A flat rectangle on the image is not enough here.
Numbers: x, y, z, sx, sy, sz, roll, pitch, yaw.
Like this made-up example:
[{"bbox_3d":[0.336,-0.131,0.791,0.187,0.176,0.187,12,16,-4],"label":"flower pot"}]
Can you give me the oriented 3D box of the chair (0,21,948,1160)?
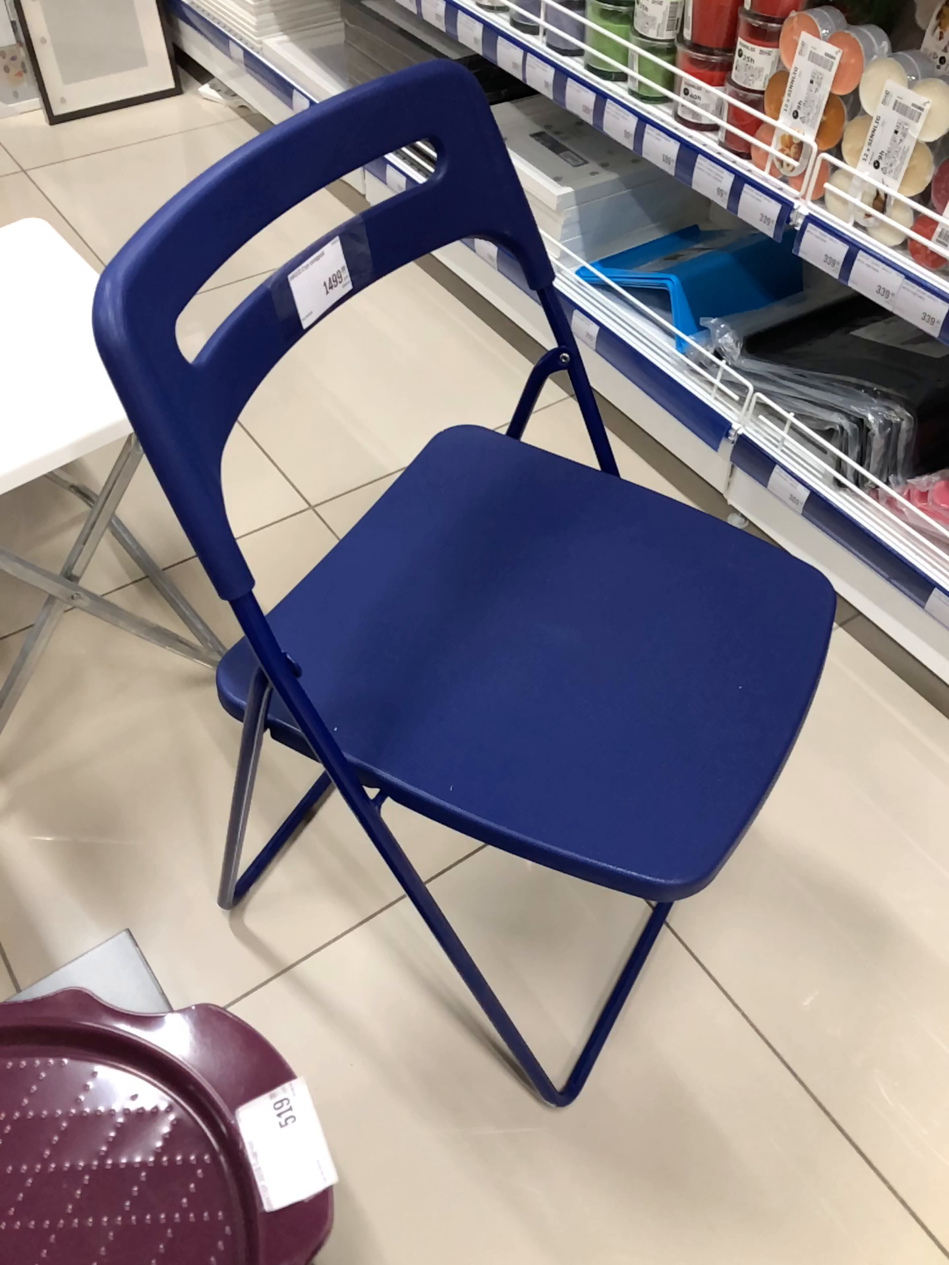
[{"bbox_3d":[0.025,0.003,0.855,0.465,0.706,0.452,25,53,18],"label":"chair"}]
